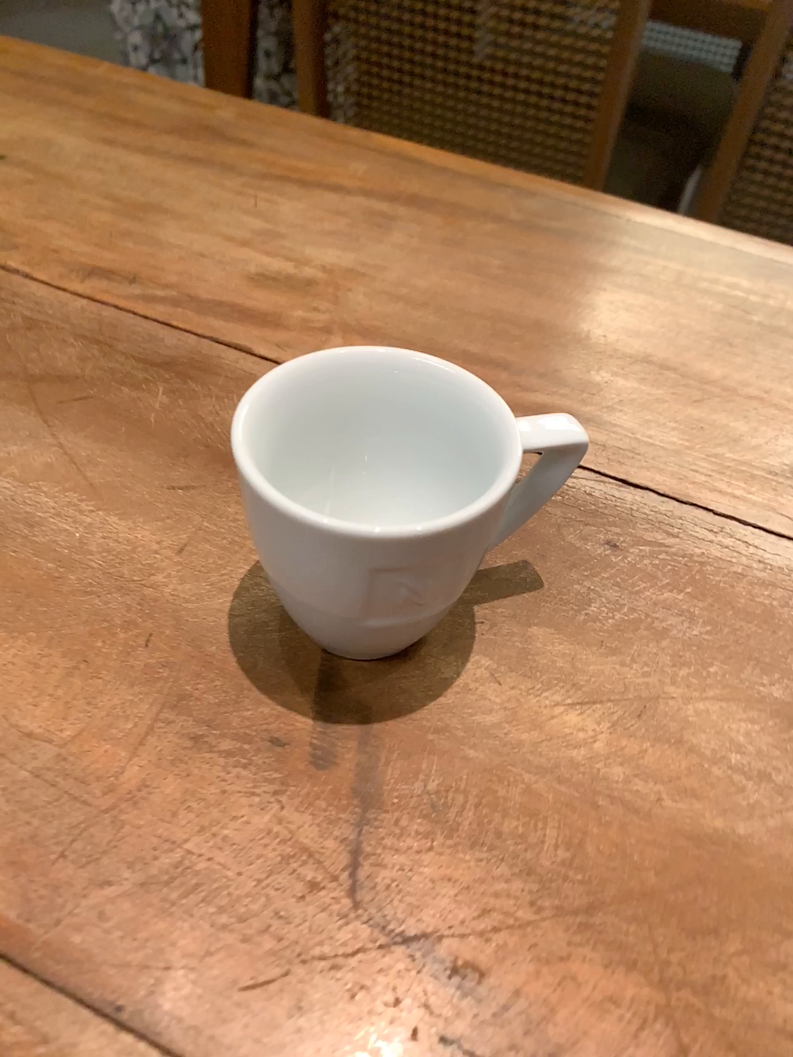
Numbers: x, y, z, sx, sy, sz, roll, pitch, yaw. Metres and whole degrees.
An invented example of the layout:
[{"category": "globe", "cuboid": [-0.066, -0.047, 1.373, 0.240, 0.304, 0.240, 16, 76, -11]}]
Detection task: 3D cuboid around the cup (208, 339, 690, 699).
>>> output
[{"category": "cup", "cuboid": [0.005, -0.004, 0.189, 0.090, 0.050, 0.060, -3, 47, -11]}]
